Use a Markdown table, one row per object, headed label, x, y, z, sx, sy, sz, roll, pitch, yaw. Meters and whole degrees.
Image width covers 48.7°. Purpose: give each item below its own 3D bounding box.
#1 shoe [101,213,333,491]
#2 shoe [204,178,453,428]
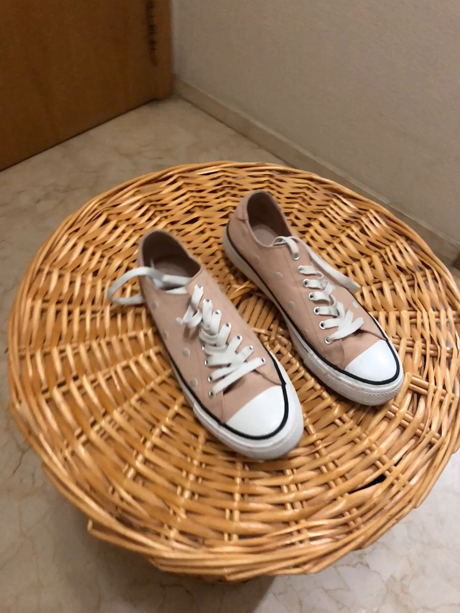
| label | x | y | z | sx | sy | sz | roll | pitch | yaw |
| --- | --- | --- | --- | --- | --- | --- | --- | --- | --- |
| shoe | -0.017 | 0.037 | 0.495 | 0.093 | 0.095 | 0.246 | -32 | 61 | -11 |
| shoe | 0.085 | -0.011 | 0.521 | 0.087 | 0.085 | 0.247 | -31 | 65 | -25 |
